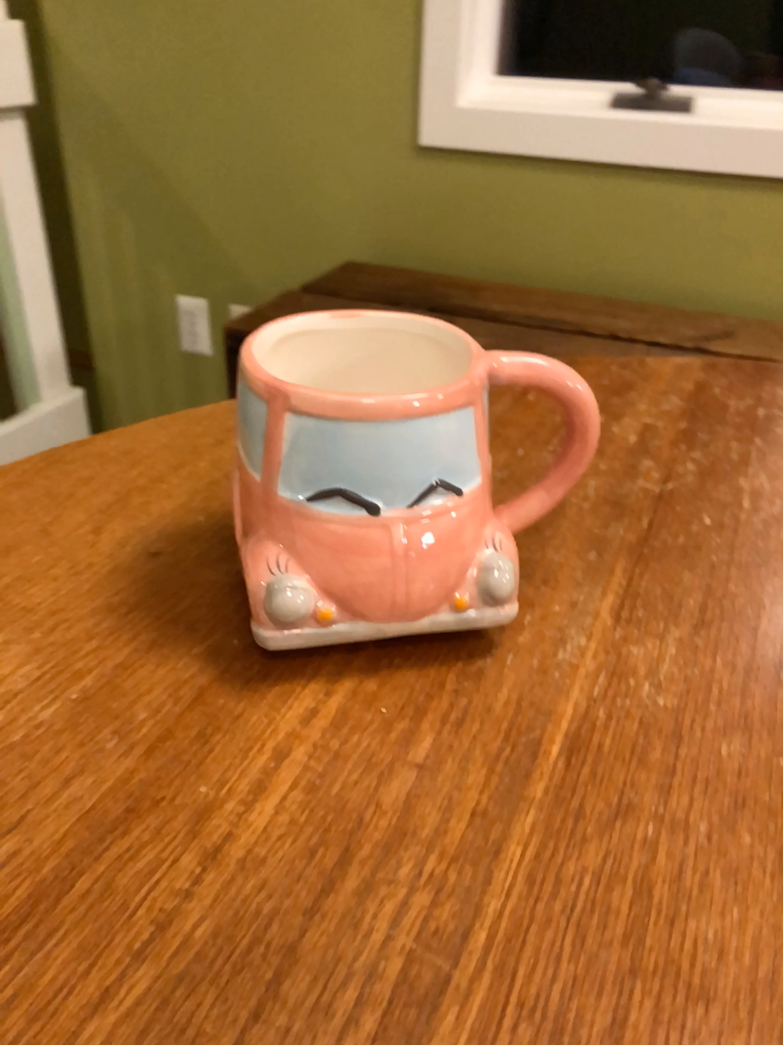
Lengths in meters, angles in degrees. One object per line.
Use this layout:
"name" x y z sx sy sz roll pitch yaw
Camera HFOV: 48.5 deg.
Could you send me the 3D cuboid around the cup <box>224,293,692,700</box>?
"cup" 0.012 -0.020 0.335 0.139 0.097 0.128 1 30 -1
